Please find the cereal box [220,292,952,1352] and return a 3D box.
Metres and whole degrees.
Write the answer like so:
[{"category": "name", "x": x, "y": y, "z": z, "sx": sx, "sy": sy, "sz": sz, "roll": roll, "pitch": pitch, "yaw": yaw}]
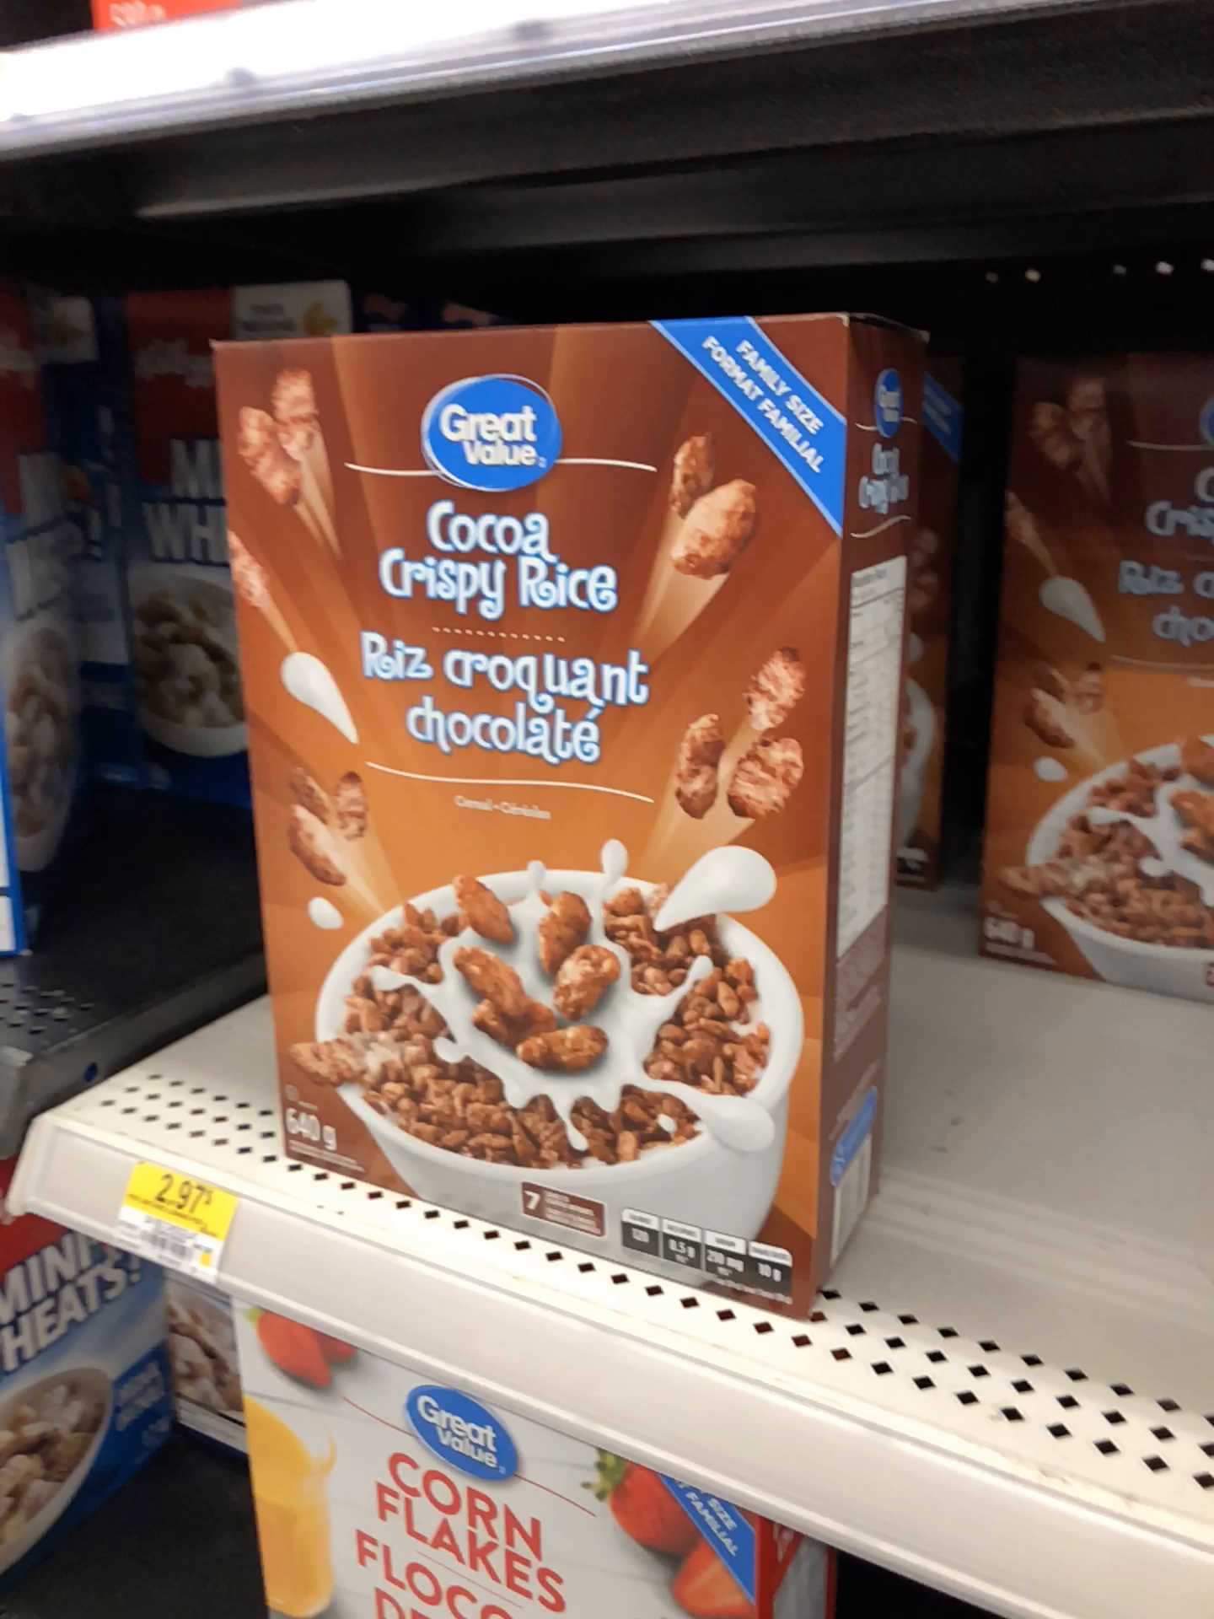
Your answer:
[{"category": "cereal box", "x": -0.008, "y": -0.004, "z": 0.447, "sx": 0.210, "sy": 0.298, "sz": 0.080, "roll": 8, "pitch": 17, "yaw": 28}]
